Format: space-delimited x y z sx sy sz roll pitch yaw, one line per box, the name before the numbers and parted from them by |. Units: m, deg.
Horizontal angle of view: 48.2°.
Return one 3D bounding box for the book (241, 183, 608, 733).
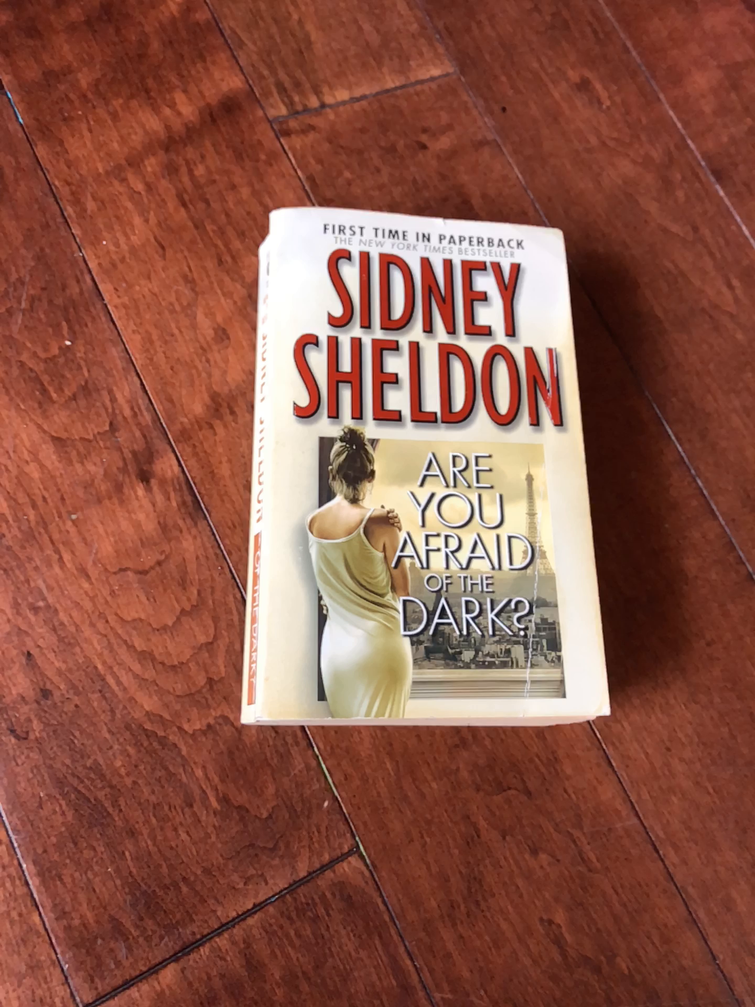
book | 0.011 -0.016 0.288 0.108 0.040 0.180 2 73 -8
